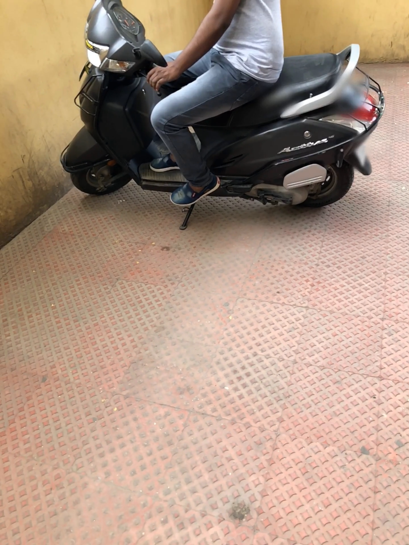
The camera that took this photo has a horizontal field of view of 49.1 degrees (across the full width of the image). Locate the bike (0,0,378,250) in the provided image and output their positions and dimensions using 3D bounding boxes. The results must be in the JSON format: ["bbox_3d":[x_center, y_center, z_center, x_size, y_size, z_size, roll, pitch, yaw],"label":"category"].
[{"bbox_3d":[-0.067,-0.740,2.143,1.544,1.016,0.698,3,39,15],"label":"bike"}]
